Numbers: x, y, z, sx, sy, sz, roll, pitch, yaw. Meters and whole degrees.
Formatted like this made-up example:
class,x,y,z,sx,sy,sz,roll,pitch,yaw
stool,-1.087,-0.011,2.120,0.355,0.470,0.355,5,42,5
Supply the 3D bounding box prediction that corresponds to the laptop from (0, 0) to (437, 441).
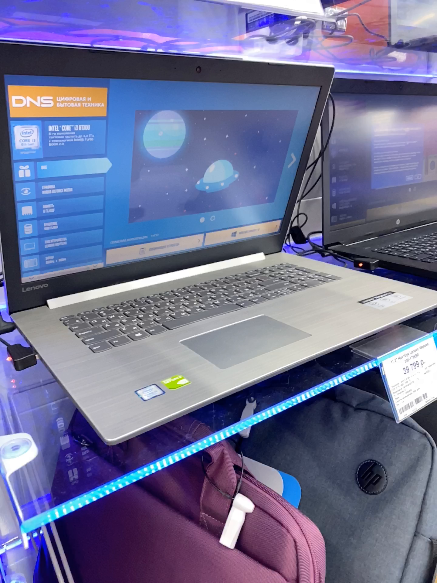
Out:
class,x,y,z,sx,sy,sz,roll,pitch,yaw
laptop,0.010,-0.105,0.468,0.417,0.256,0.280,-14,22,-33
